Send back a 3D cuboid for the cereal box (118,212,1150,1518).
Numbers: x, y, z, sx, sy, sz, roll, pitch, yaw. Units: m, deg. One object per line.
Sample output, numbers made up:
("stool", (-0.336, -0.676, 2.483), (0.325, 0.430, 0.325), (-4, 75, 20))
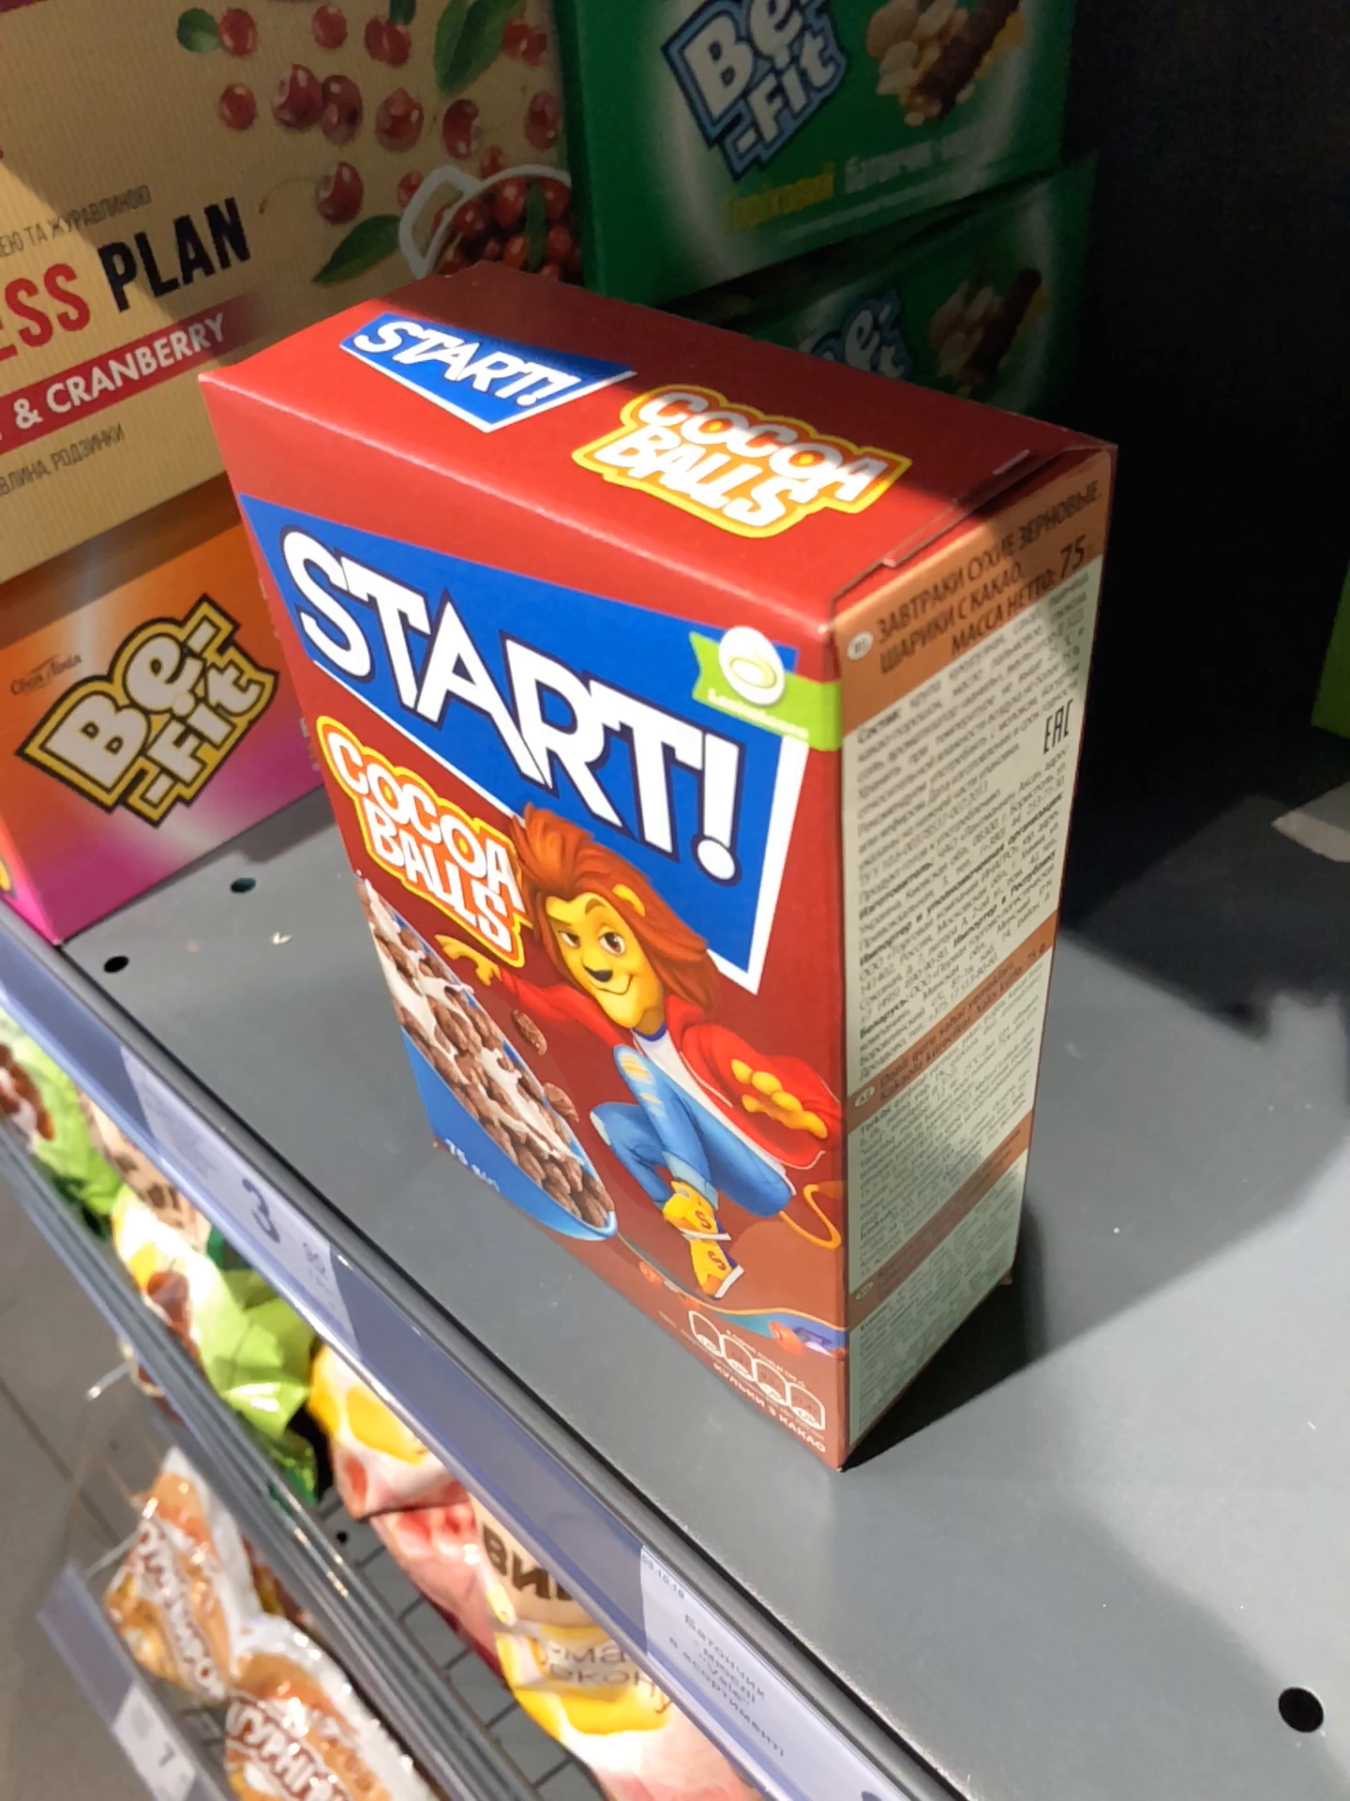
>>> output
("cereal box", (-0.002, 0.000, 0.233), (0.110, 0.169, 0.060), (30, 54, 33))
